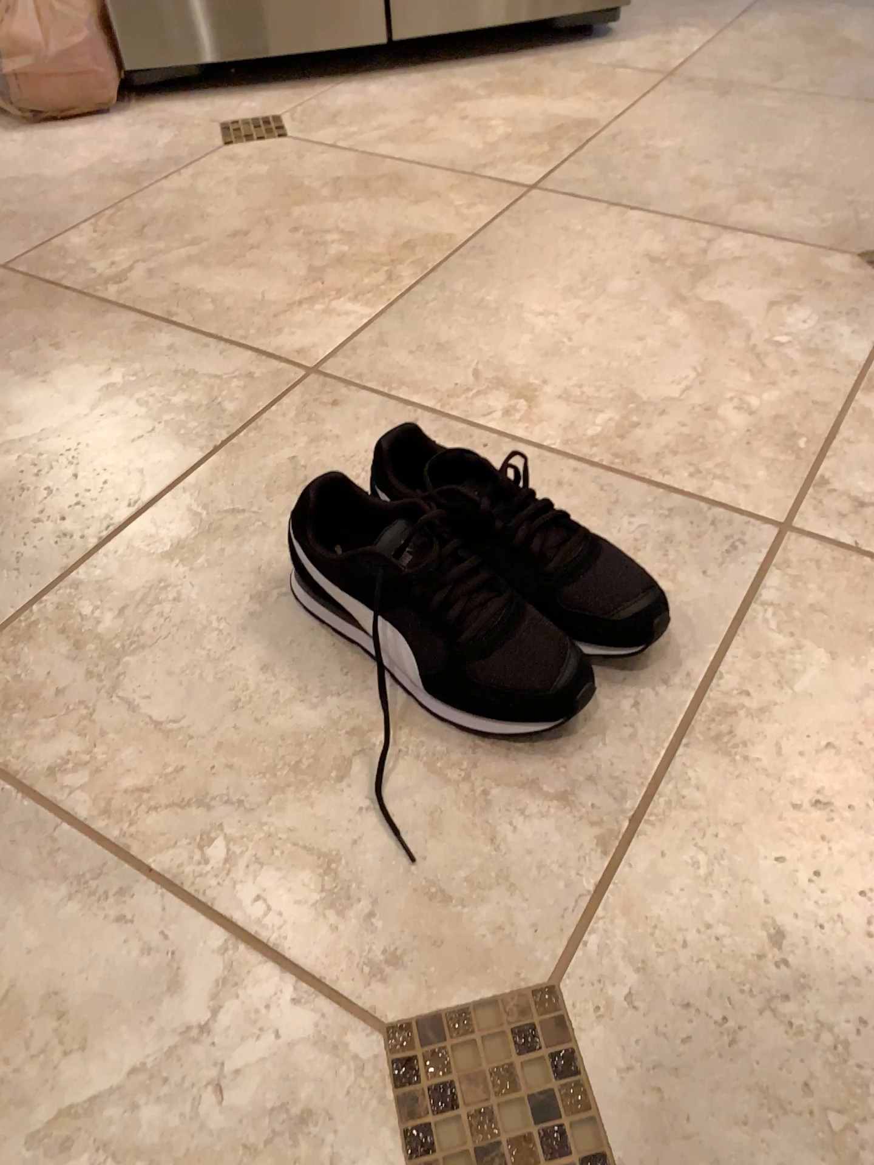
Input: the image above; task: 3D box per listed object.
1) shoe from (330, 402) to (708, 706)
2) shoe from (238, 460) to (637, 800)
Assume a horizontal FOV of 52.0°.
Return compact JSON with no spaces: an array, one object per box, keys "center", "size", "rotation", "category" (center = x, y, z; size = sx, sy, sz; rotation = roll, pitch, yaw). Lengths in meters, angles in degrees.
[{"center":[0.058,-0.032,0.707],"size":[0.269,0.095,0.108],"rotation":[28,56,27],"category":"shoe"},{"center":[-0.005,0.025,0.659],"size":[0.269,0.095,0.108],"rotation":[28,55,27],"category":"shoe"}]
